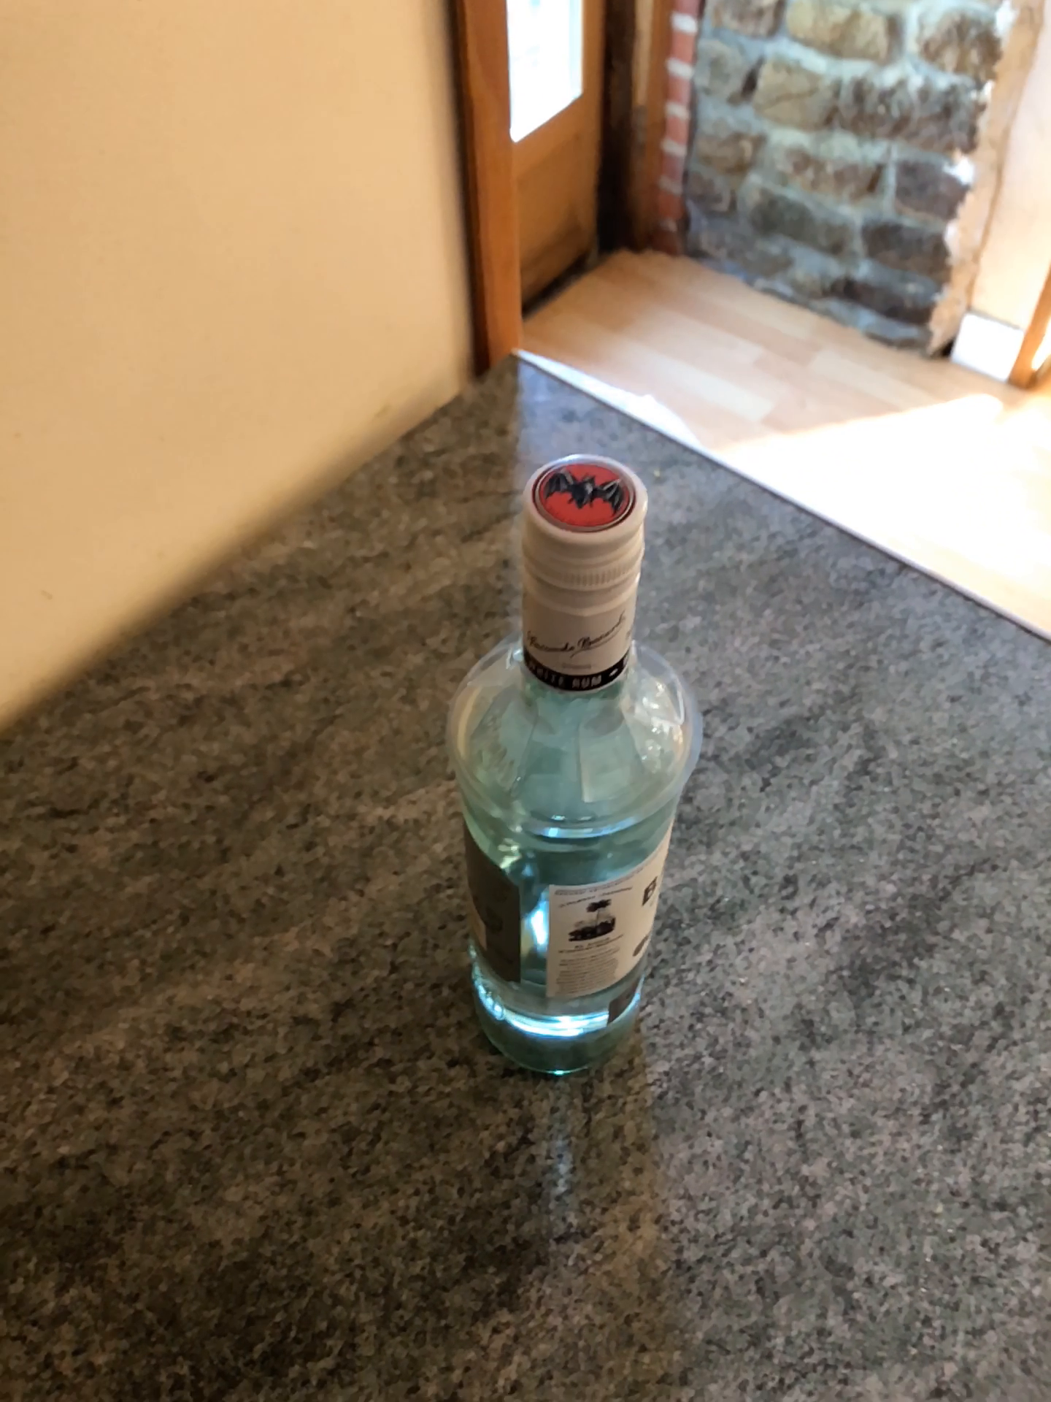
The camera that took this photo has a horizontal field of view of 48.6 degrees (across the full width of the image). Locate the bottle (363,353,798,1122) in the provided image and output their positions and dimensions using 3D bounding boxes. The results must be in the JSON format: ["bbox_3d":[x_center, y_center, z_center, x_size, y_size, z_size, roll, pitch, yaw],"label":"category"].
[{"bbox_3d":[0.014,0.041,0.394,0.080,0.298,0.080,-1,52,1],"label":"bottle"}]
